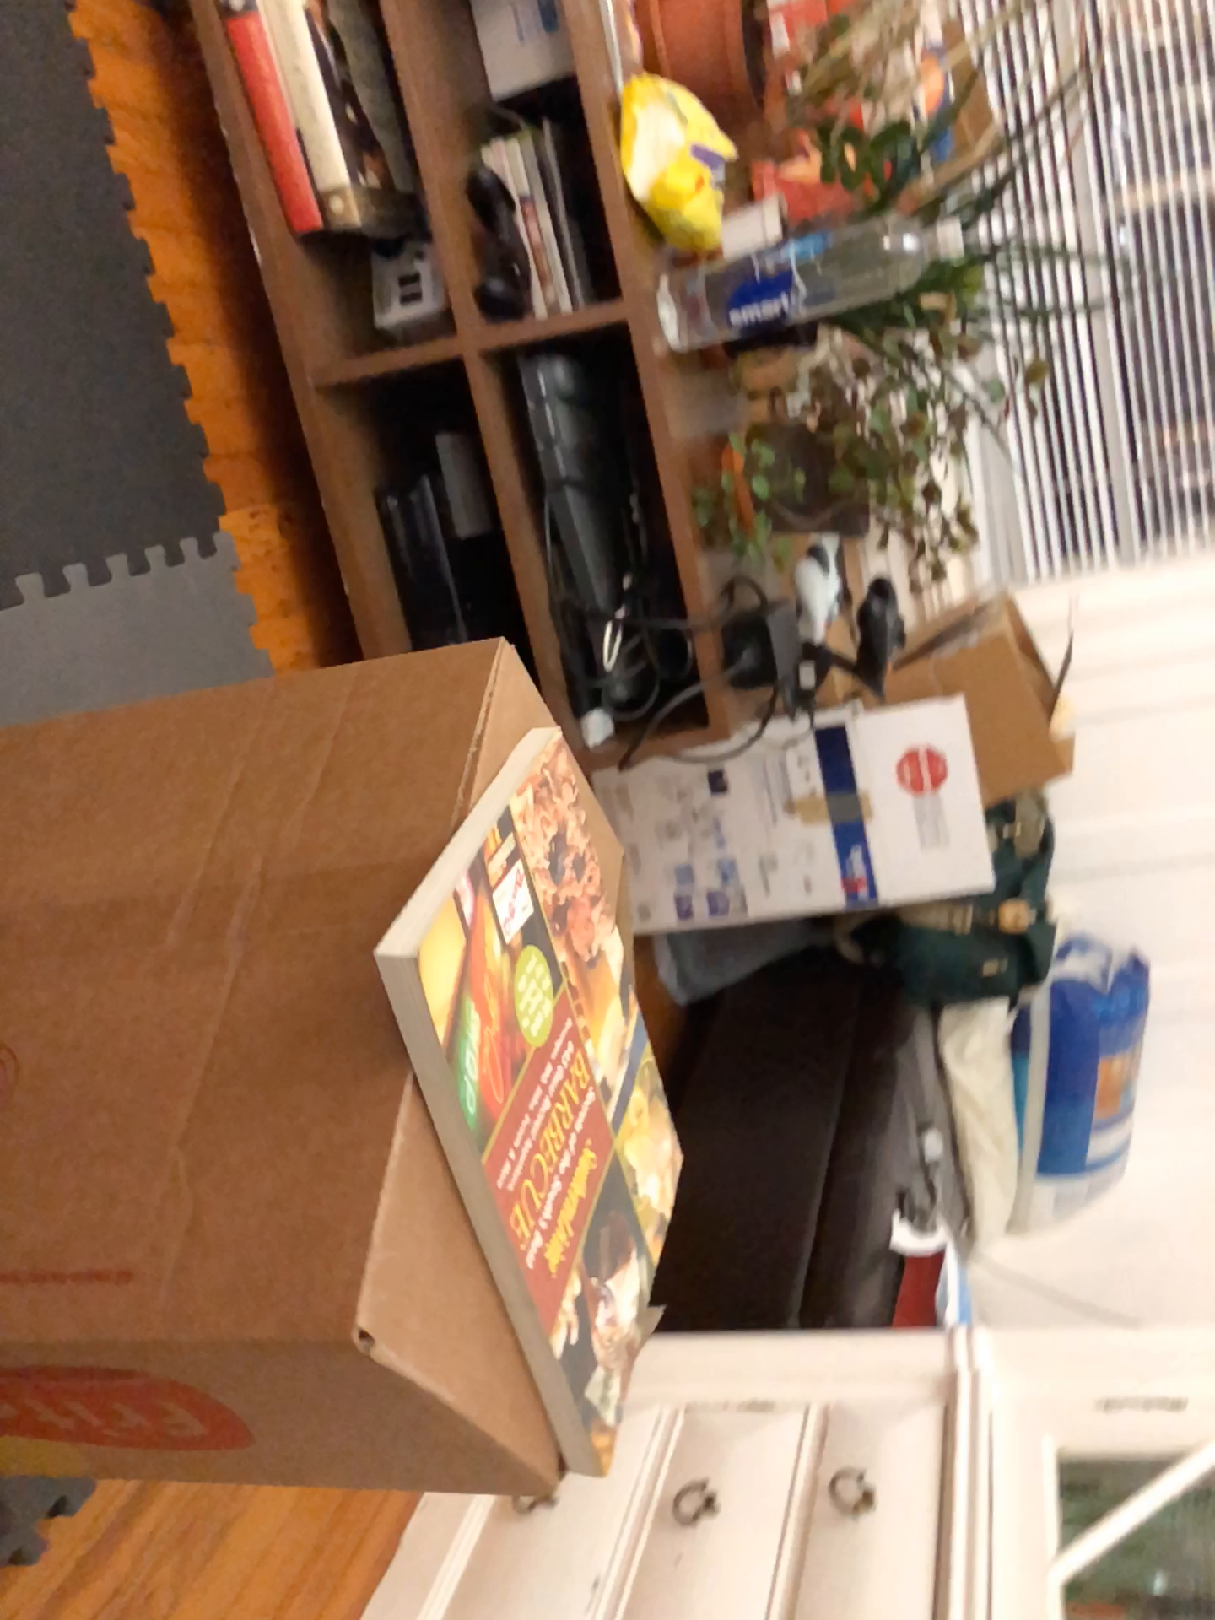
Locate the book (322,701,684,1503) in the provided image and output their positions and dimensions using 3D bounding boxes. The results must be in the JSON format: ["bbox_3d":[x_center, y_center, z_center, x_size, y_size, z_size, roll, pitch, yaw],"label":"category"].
[{"bbox_3d":[-0.029,0.125,0.624,0.221,0.020,0.290,-63,140,-60],"label":"book"}]
